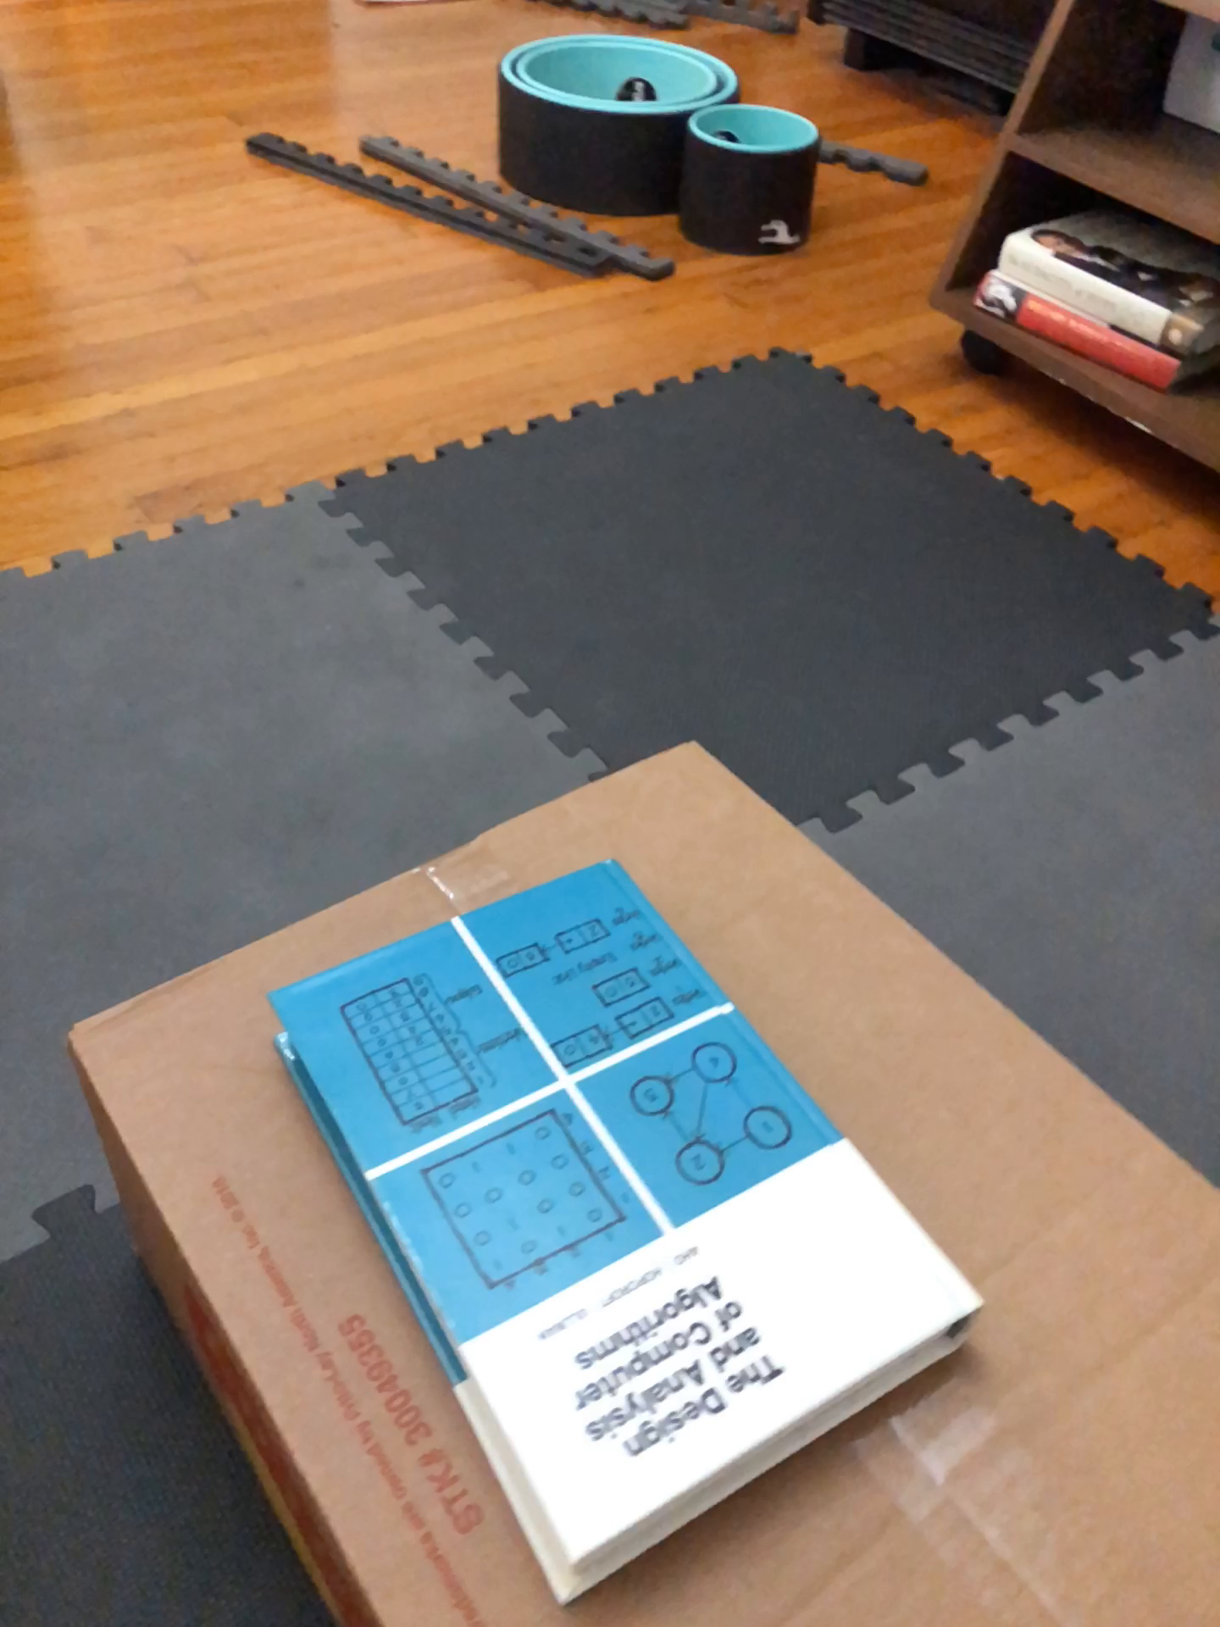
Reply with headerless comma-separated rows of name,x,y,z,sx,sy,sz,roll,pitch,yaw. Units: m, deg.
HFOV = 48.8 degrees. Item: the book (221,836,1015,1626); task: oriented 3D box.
book,-0.010,0.136,0.515,0.190,0.040,0.261,-20,49,-24
